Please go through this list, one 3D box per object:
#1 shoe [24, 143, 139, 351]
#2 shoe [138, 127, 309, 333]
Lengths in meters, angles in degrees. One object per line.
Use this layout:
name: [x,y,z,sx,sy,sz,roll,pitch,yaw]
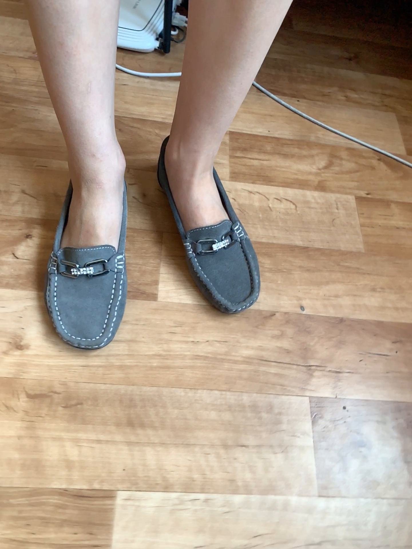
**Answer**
shoe: [-0.130,-0.038,0.482,0.090,0.060,0.240,2,61,-5]
shoe: [0.010,-0.063,0.512,0.100,0.060,0.240,-20,66,-20]
